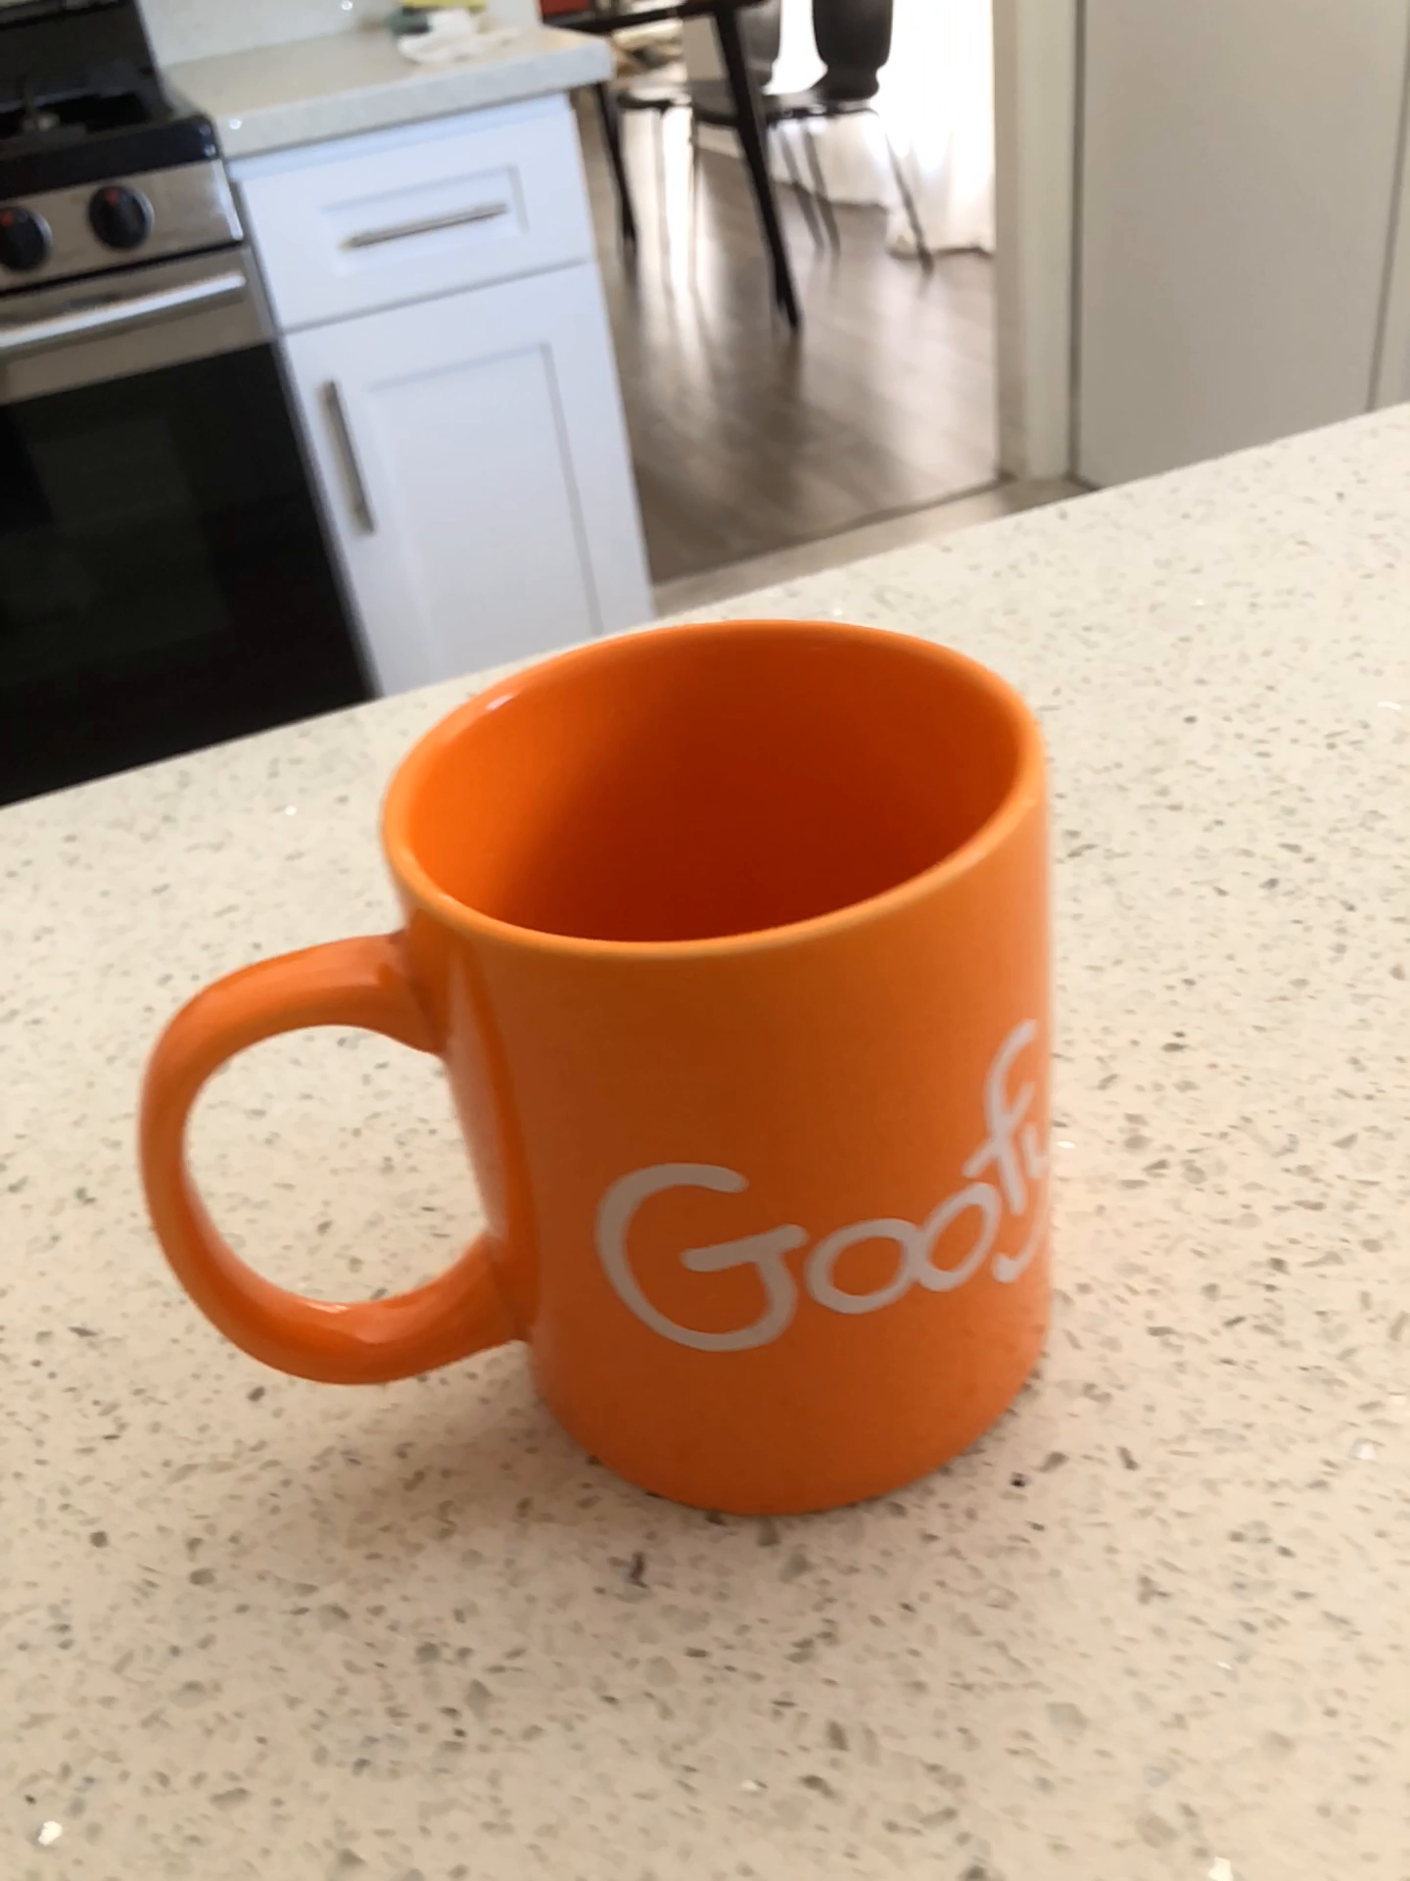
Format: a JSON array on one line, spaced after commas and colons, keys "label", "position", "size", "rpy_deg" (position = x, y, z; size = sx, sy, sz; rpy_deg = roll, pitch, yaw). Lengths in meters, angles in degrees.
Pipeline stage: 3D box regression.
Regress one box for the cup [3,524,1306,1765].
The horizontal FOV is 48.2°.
[{"label": "cup", "position": [-0.007, 0.020, 0.214], "size": [0.130, 0.101, 0.090], "rpy_deg": [-16, 35, -10]}]
